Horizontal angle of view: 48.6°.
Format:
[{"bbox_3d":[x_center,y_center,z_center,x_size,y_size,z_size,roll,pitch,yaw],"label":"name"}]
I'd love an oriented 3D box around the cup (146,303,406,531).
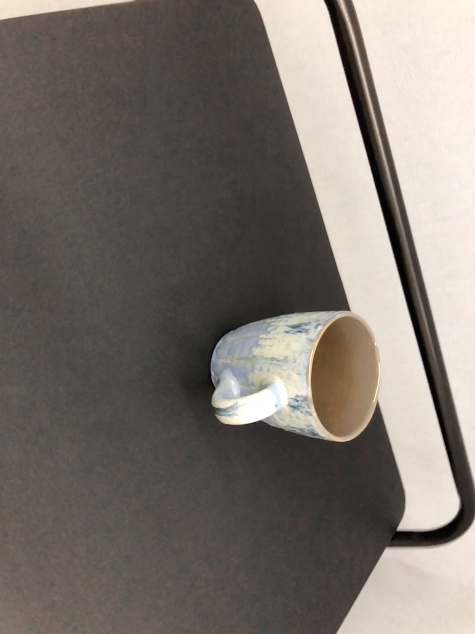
[{"bbox_3d":[0.030,0.055,0.354,0.121,0.107,0.089,-29,109,-43],"label":"cup"}]
